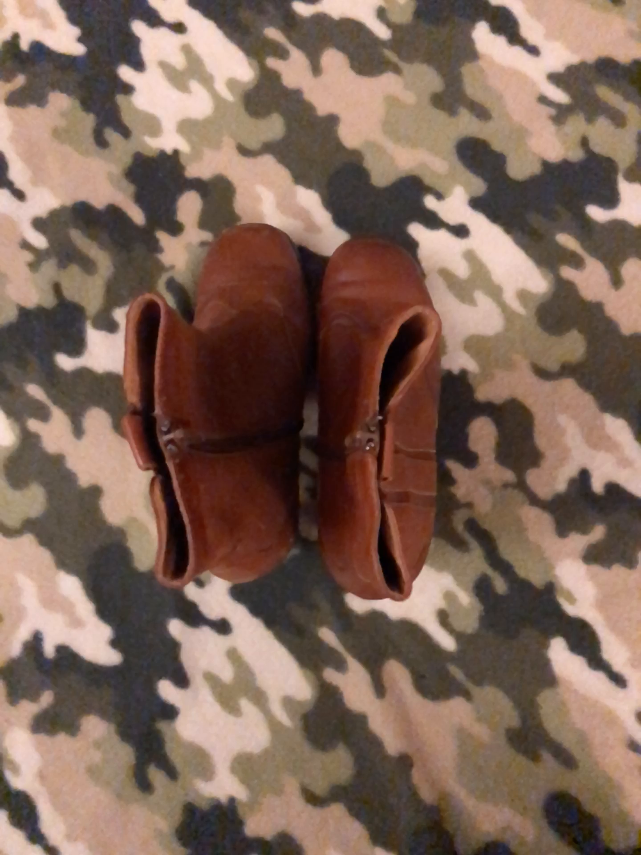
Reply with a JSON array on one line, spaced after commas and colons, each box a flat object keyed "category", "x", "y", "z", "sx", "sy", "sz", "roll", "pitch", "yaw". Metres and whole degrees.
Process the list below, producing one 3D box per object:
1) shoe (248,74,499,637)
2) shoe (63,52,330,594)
[{"category": "shoe", "x": 0.029, "y": -0.021, "z": 0.364, "sx": 0.090, "sy": 0.190, "sz": 0.220, "roll": 2, "pitch": 81, "yaw": 4}, {"category": "shoe", "x": -0.047, "y": -0.032, "z": 0.372, "sx": 0.090, "sy": 0.190, "sz": 0.220, "roll": -1, "pitch": 81, "yaw": 4}]
